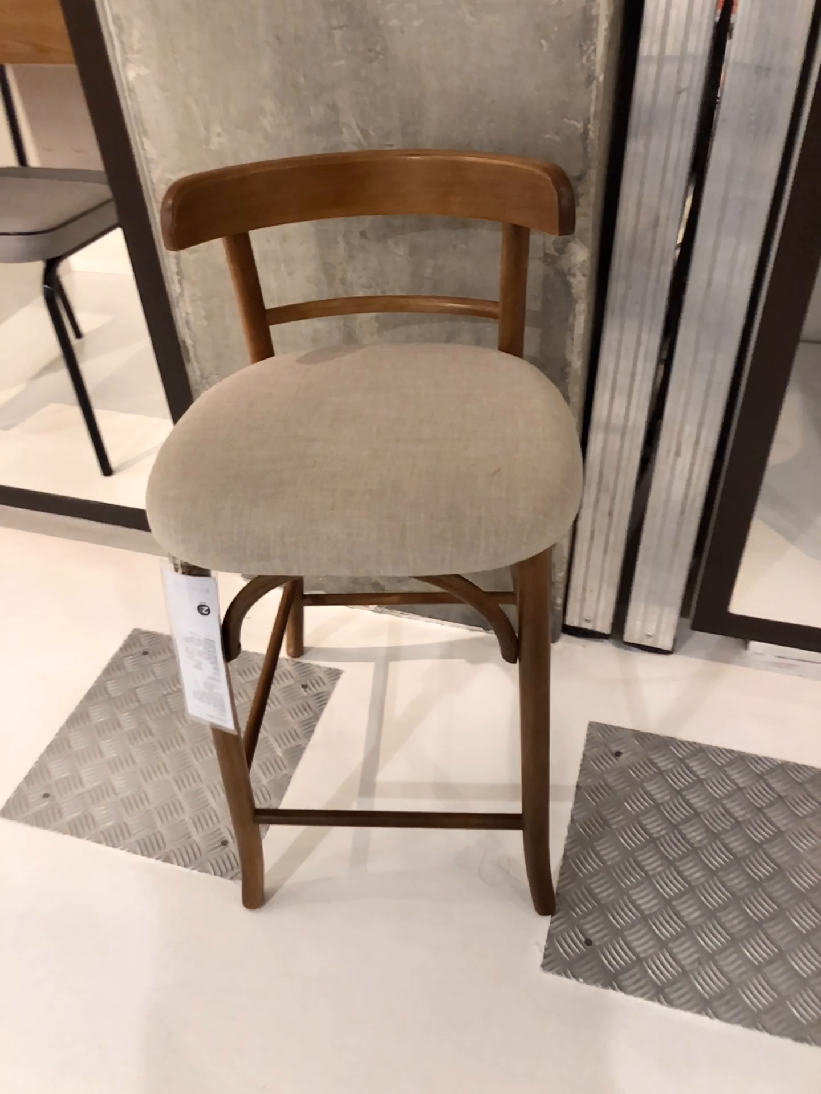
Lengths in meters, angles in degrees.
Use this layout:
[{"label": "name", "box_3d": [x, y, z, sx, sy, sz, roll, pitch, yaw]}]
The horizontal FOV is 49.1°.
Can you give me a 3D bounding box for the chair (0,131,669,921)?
[{"label": "chair", "box_3d": [-0.037, 0.010, 1.063, 0.480, 0.794, 0.484, -1, 41, 3]}]
